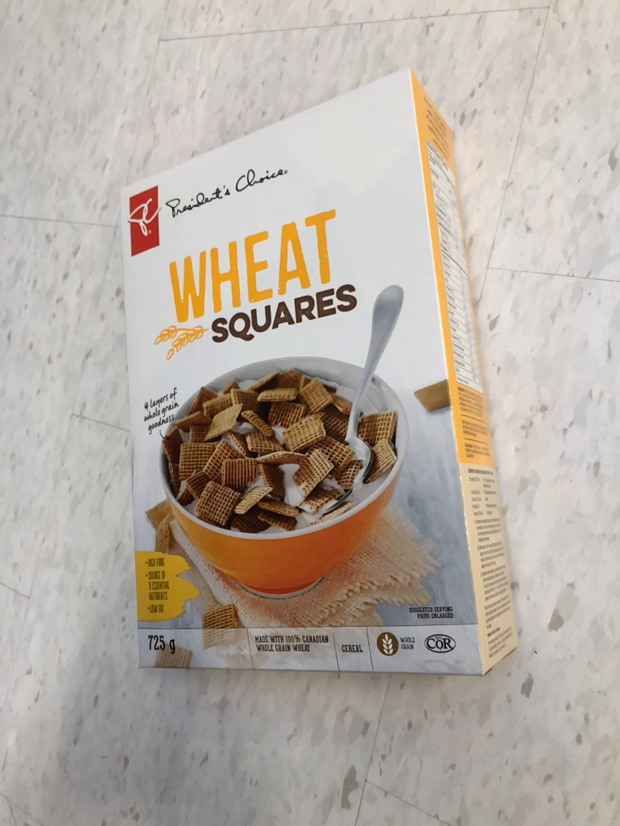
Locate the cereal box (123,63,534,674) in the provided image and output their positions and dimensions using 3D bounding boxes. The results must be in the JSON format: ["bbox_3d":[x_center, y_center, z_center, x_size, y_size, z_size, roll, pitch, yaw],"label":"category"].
[{"bbox_3d":[-0.001,-0.012,0.397,0.201,0.080,0.290,-10,78,28],"label":"cereal box"}]
